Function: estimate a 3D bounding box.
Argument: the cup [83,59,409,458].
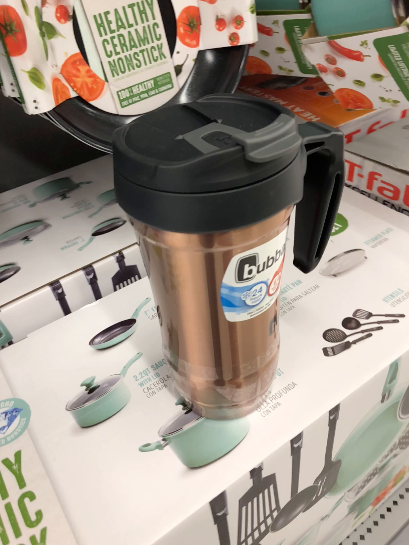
[{"bbox_3d":[0.032,-0.009,0.278,0.143,0.182,0.094,-26,45,-23],"label":"cup"}]
